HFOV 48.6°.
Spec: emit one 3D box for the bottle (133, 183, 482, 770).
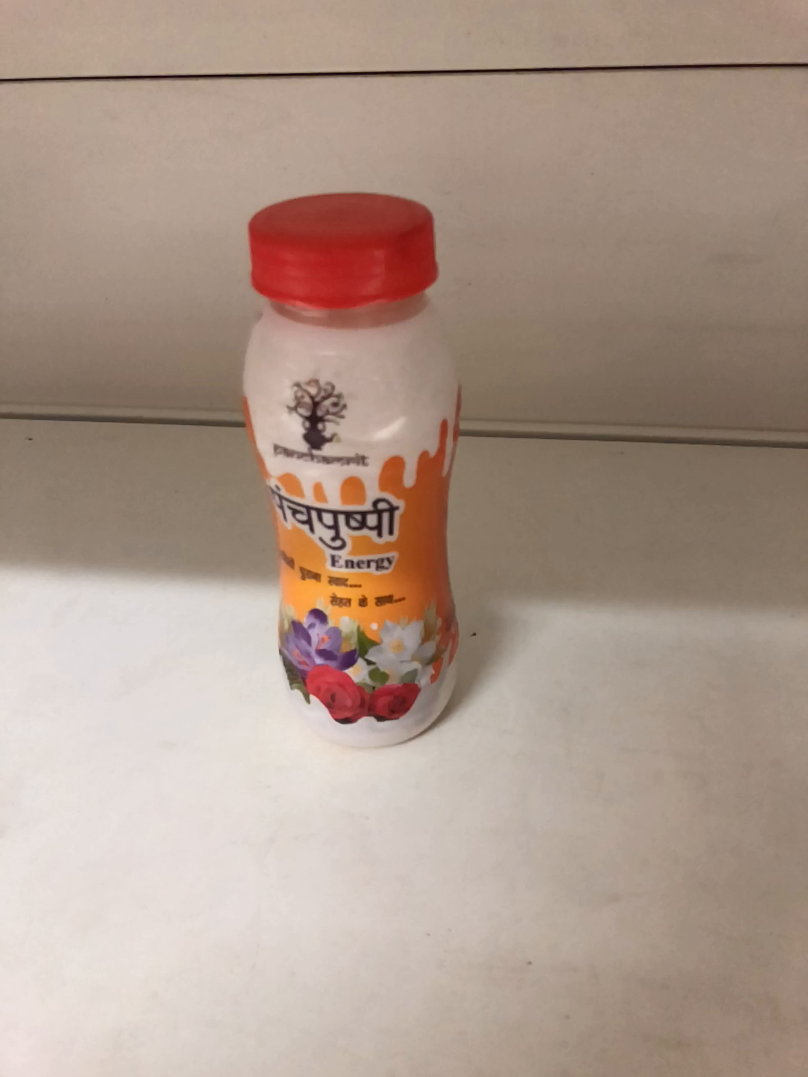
[{"bbox_3d":[-0.014,-0.014,0.224,0.060,0.129,0.060,-2,31,1],"label":"bottle"}]
